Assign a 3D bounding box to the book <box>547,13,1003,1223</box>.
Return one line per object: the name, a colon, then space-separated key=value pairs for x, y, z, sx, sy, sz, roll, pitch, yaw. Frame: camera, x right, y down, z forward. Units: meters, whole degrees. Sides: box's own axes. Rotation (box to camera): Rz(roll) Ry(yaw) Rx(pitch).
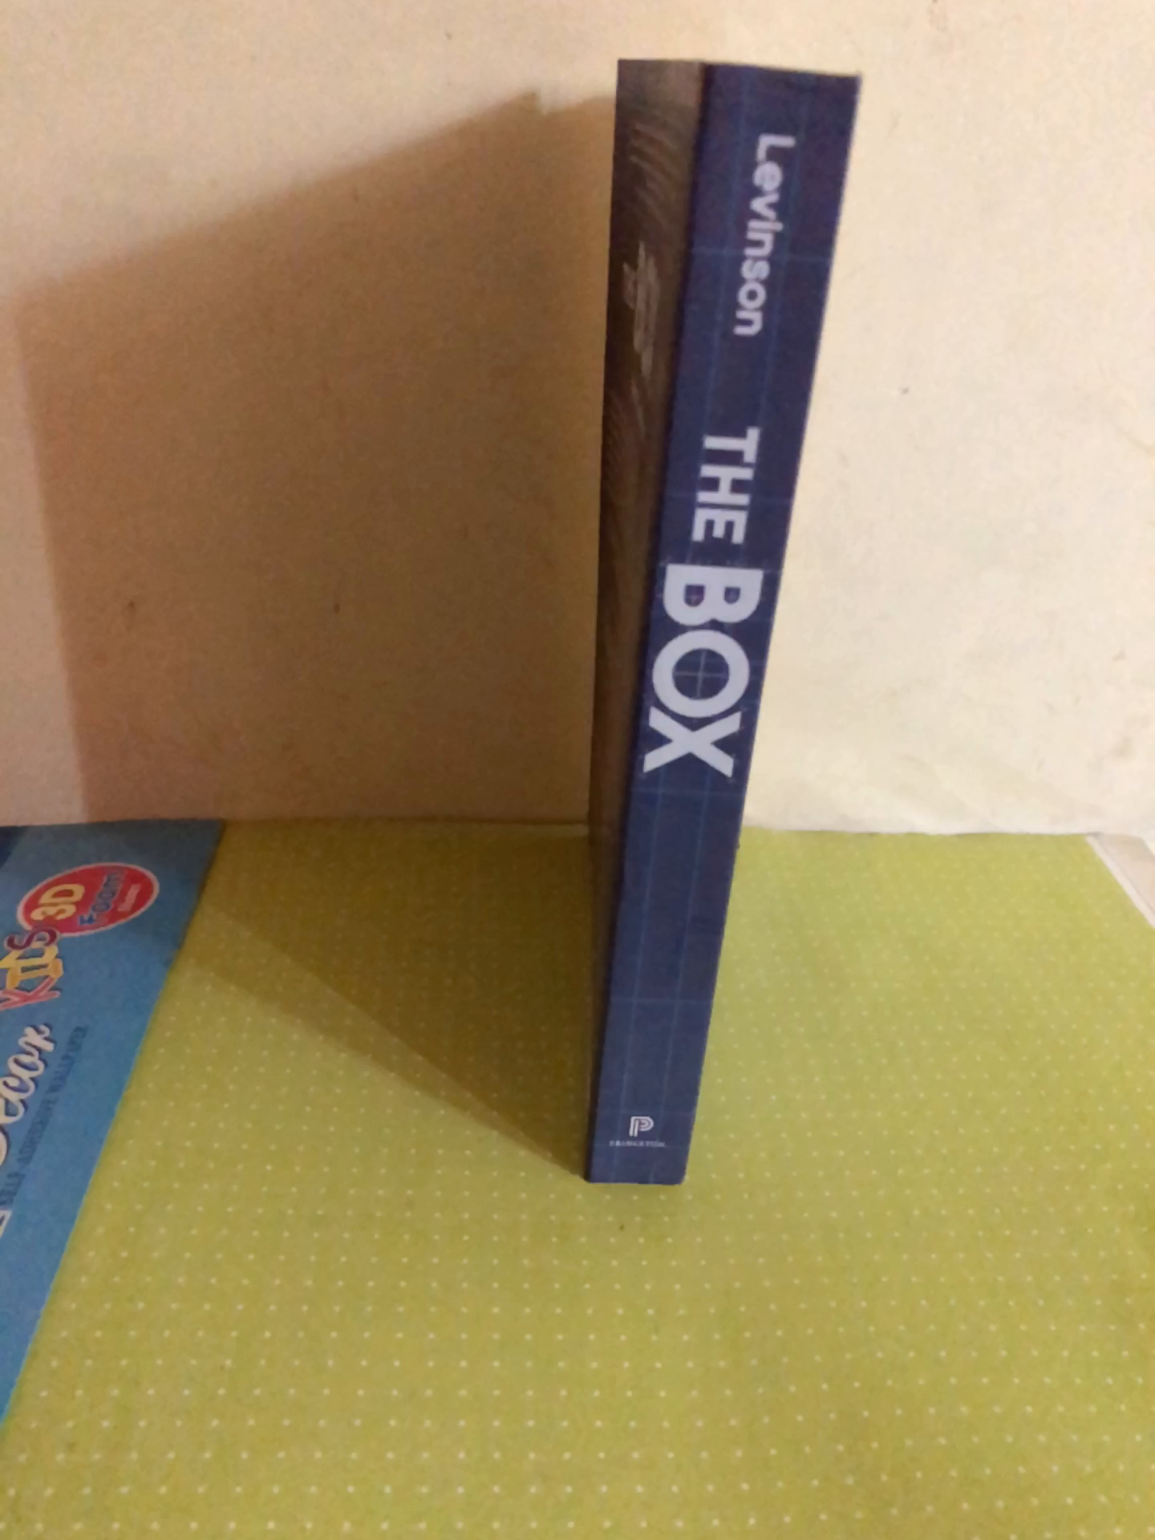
book: x=0.031 y=-0.045 z=0.305 sx=0.050 sy=0.219 sz=0.181 roll=5 pitch=27 yaw=2
